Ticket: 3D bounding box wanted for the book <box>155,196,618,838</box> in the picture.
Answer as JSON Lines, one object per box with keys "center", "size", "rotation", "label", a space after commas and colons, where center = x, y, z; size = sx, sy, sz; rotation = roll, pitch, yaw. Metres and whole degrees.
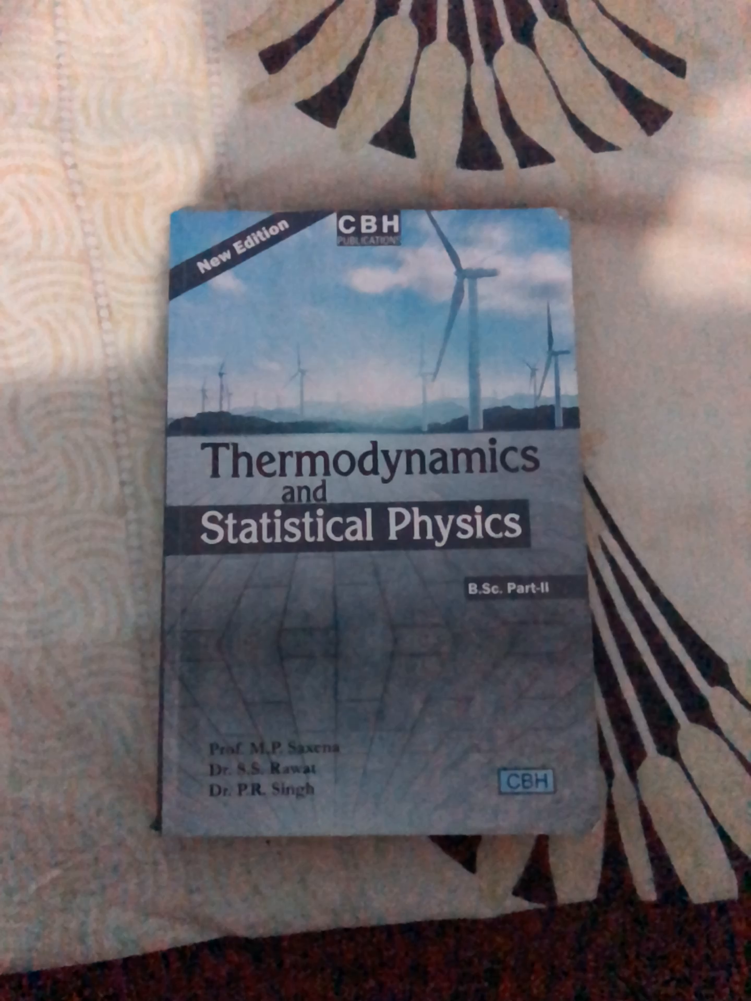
{"center": [0.002, 0.004, 0.333], "size": [0.170, 0.030, 0.240], "rotation": [-1, 86, 0], "label": "book"}
